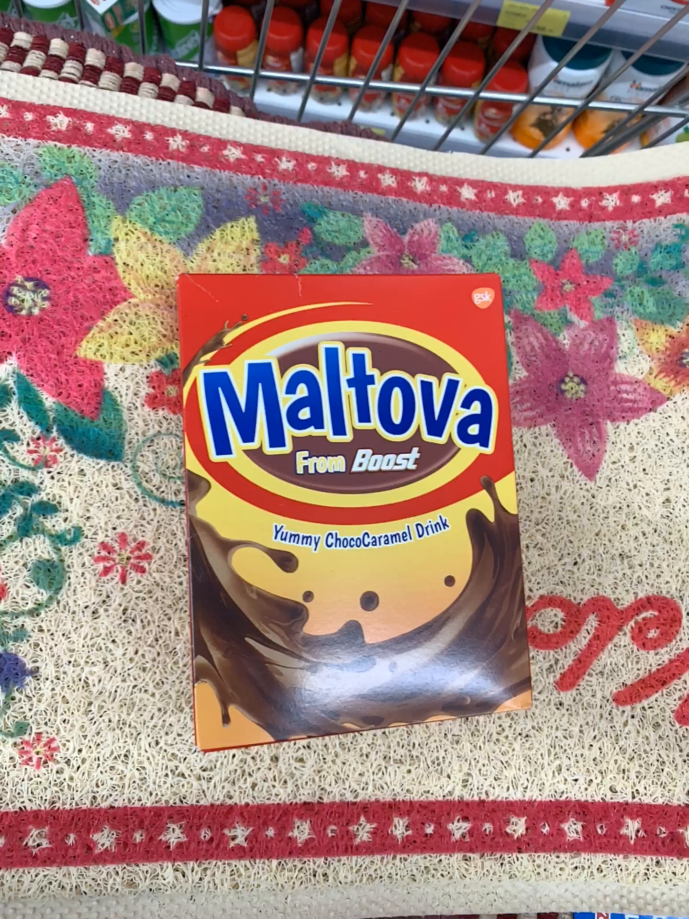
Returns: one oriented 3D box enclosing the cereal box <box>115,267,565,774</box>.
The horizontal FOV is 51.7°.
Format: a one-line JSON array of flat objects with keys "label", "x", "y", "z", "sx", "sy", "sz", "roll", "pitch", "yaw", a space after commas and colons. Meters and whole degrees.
[{"label": "cereal box", "x": -0.004, "y": 0.017, "z": 0.278, "sx": 0.150, "sy": 0.050, "sz": 0.170, "roll": -3, "pitch": 84, "yaw": -9}]
